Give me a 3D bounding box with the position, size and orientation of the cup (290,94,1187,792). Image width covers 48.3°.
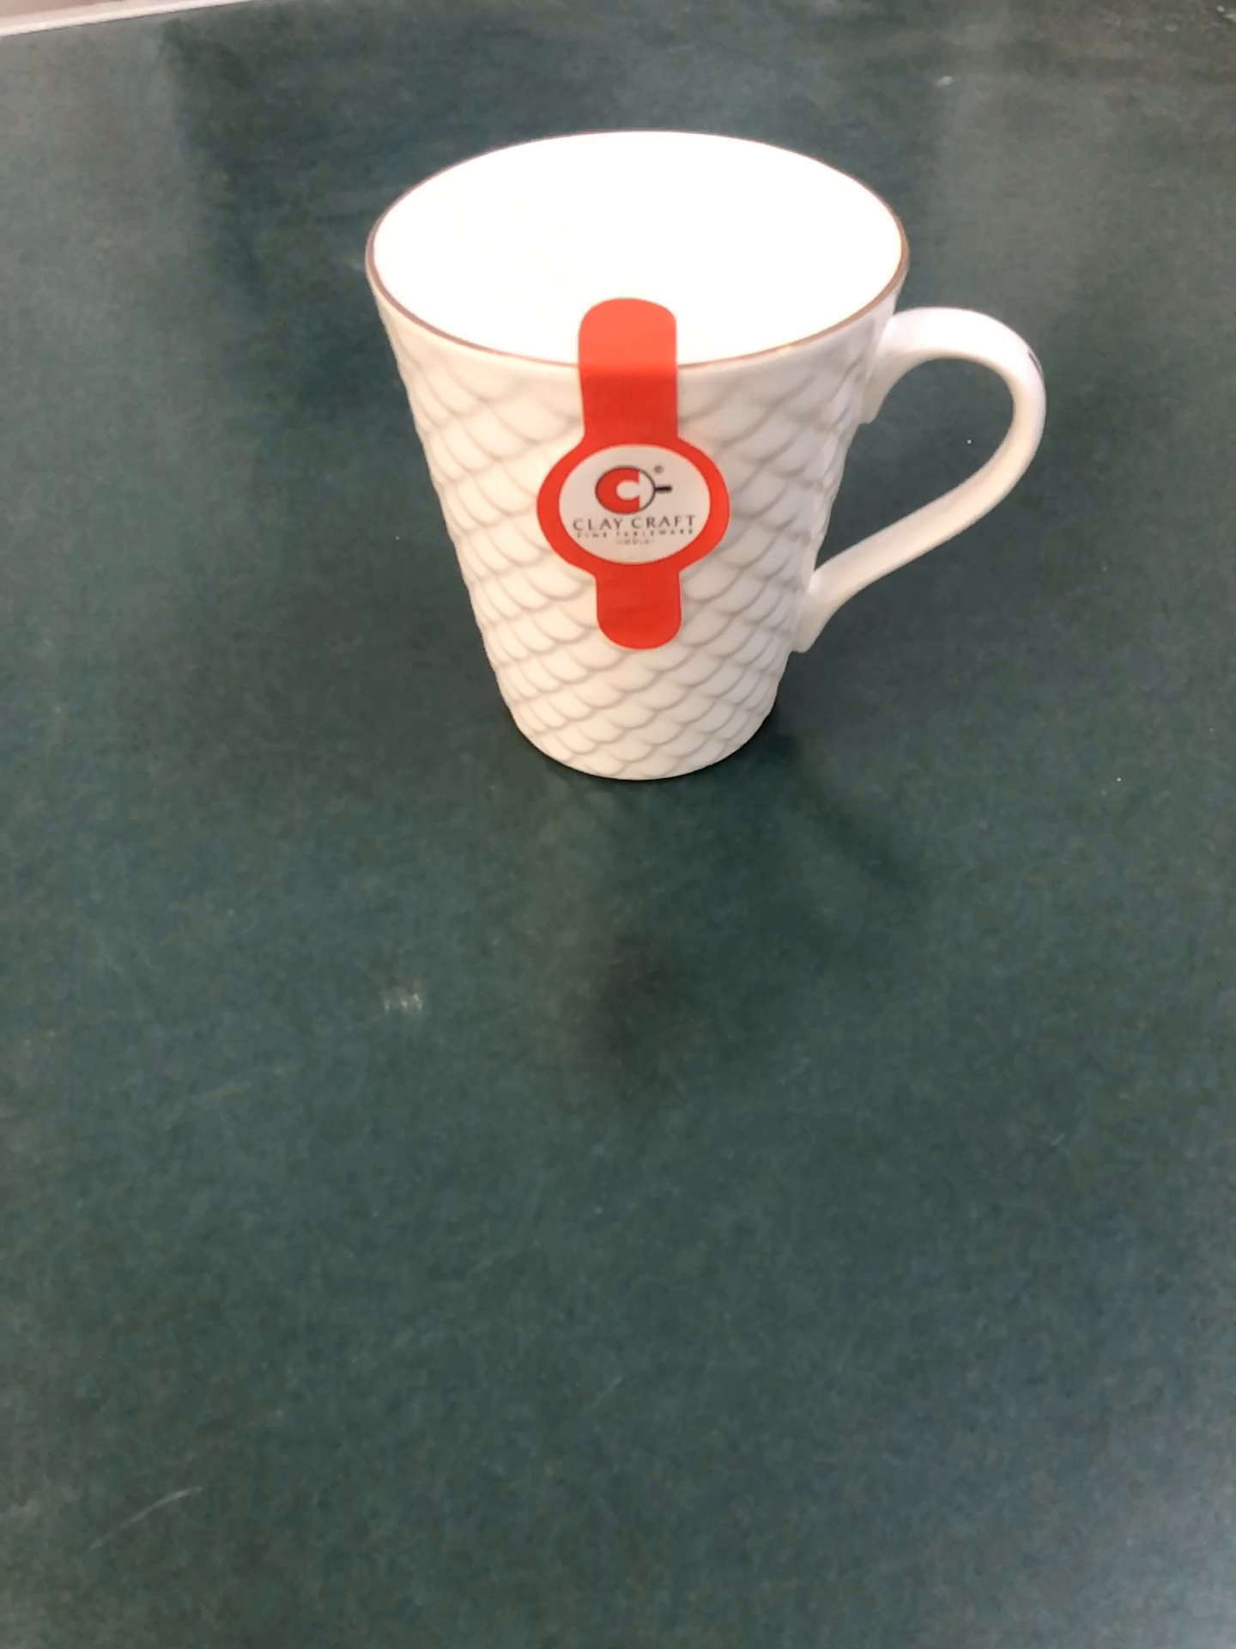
[{"bbox_3d":[0.018,-0.066,0.245,0.120,0.090,0.080,0,47,2],"label":"cup"}]
